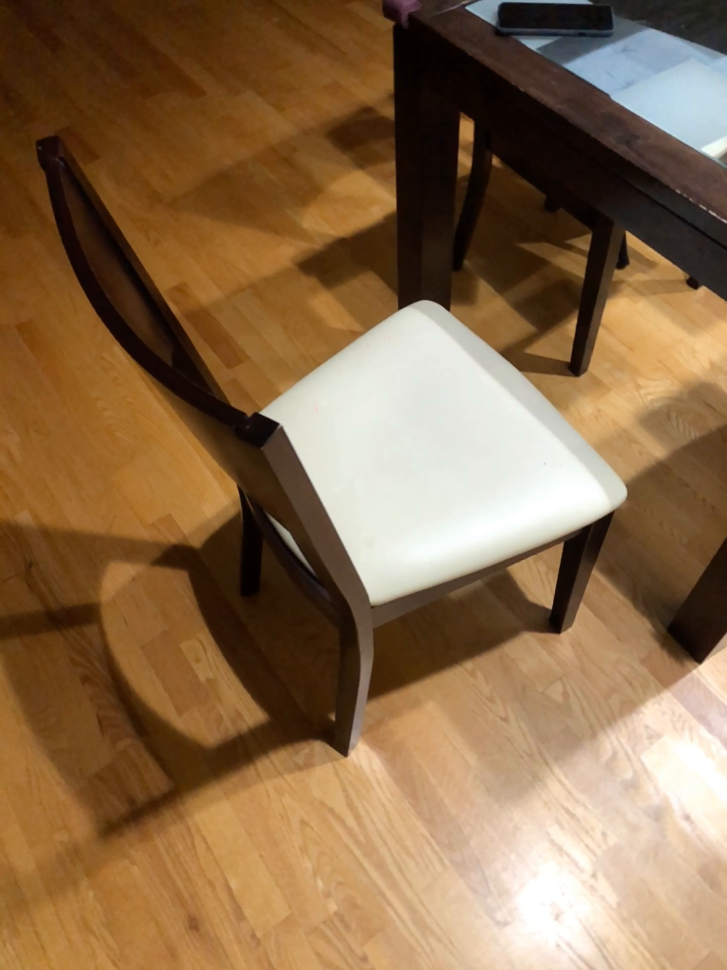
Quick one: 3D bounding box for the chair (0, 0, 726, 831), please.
[{"bbox_3d":[0.037,-0.032,1.155,0.641,1.005,0.502,-33,59,-19],"label":"chair"}]
